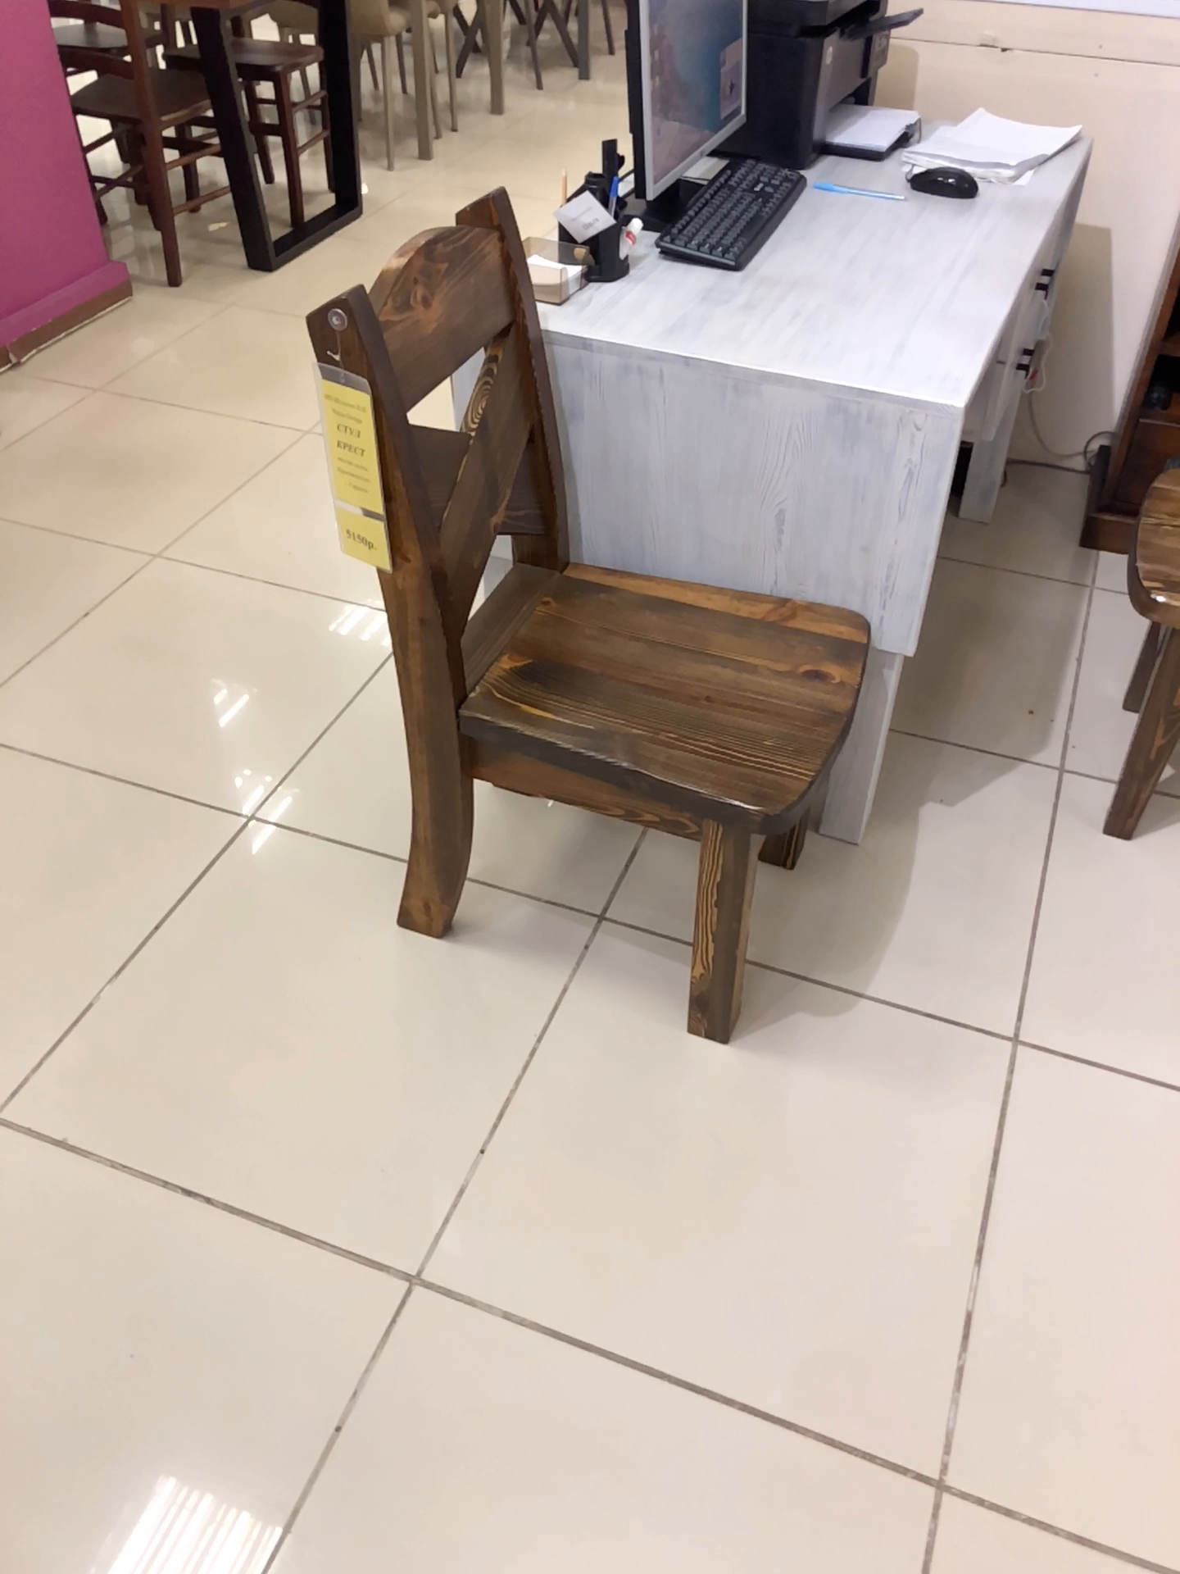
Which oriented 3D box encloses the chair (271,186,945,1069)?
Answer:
[{"bbox_3d":[0.037,-0.179,1.621,0.570,0.895,0.452,14,43,15],"label":"chair"}]
